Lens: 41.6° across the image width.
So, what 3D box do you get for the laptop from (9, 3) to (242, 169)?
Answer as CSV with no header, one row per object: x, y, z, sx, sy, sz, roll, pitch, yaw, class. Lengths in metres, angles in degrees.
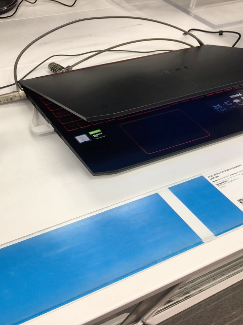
0.079,-0.146,0.528,0.400,0.101,0.238,-19,54,-19,laptop
